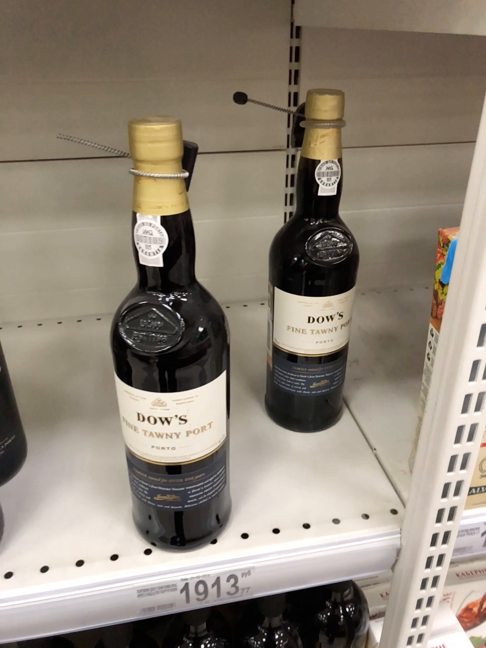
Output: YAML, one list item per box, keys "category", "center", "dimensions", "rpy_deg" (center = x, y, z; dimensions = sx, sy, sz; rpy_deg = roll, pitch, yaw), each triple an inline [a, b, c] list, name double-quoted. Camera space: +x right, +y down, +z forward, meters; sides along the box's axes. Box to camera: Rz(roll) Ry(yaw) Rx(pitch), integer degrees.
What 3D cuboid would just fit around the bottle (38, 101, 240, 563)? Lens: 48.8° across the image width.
- category: "bottle"
  center: [-0.053, 0.016, 0.358]
  dimensions: [0.090, 0.296, 0.091]
  rpy_deg: [0, 28, 0]
